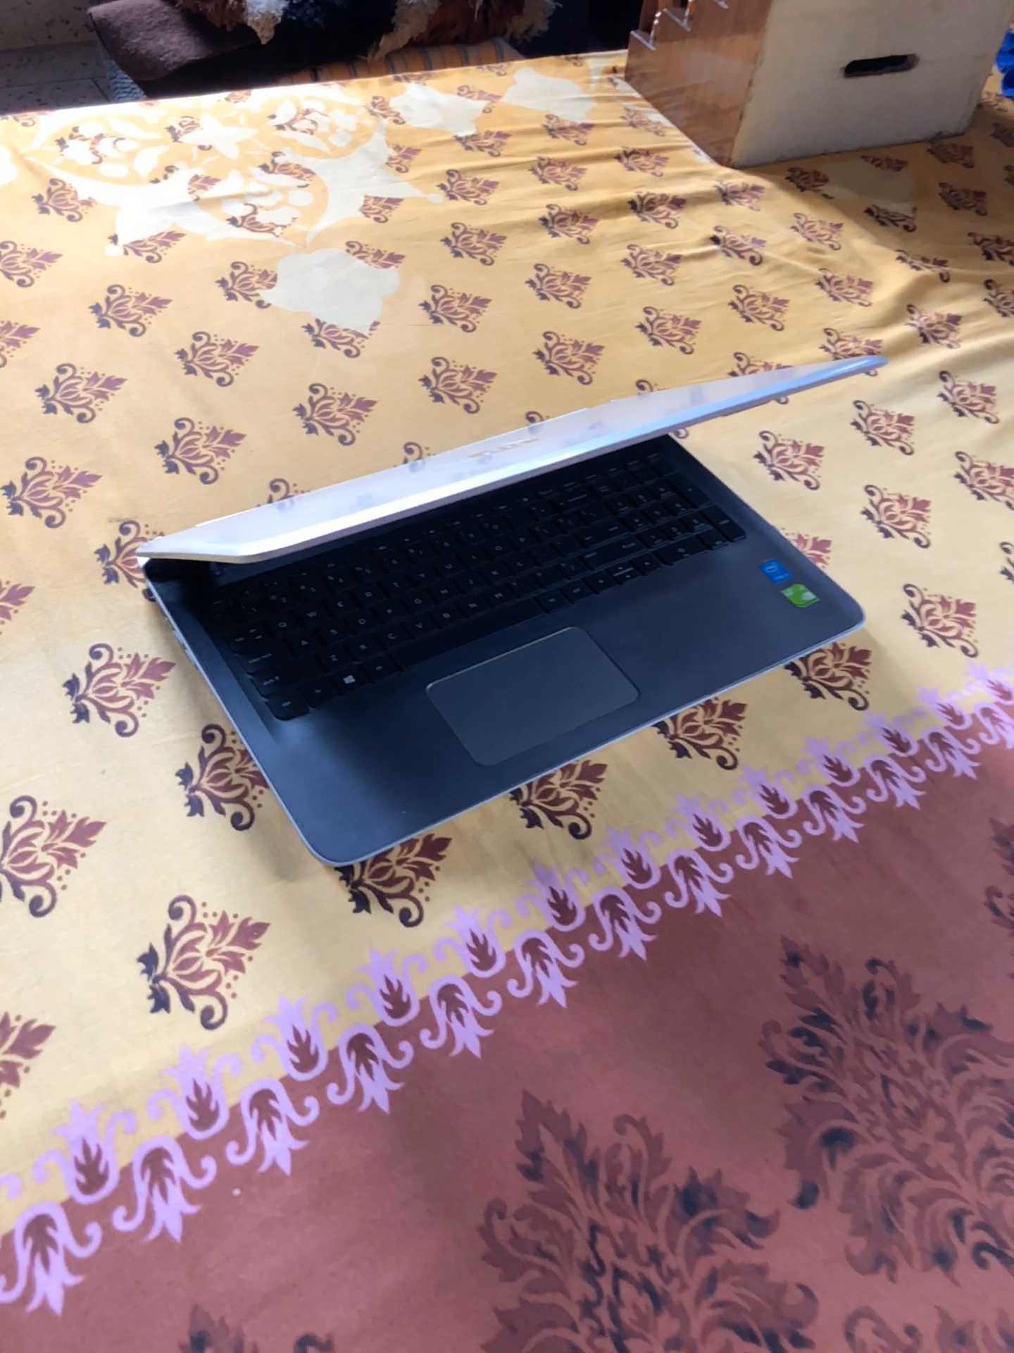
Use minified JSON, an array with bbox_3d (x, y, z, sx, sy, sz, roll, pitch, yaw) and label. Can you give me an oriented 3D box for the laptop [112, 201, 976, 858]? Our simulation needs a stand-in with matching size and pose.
[{"bbox_3d":[0.015,-0.109,0.625,0.373,0.155,0.249,-22,54,-25],"label":"laptop"}]
